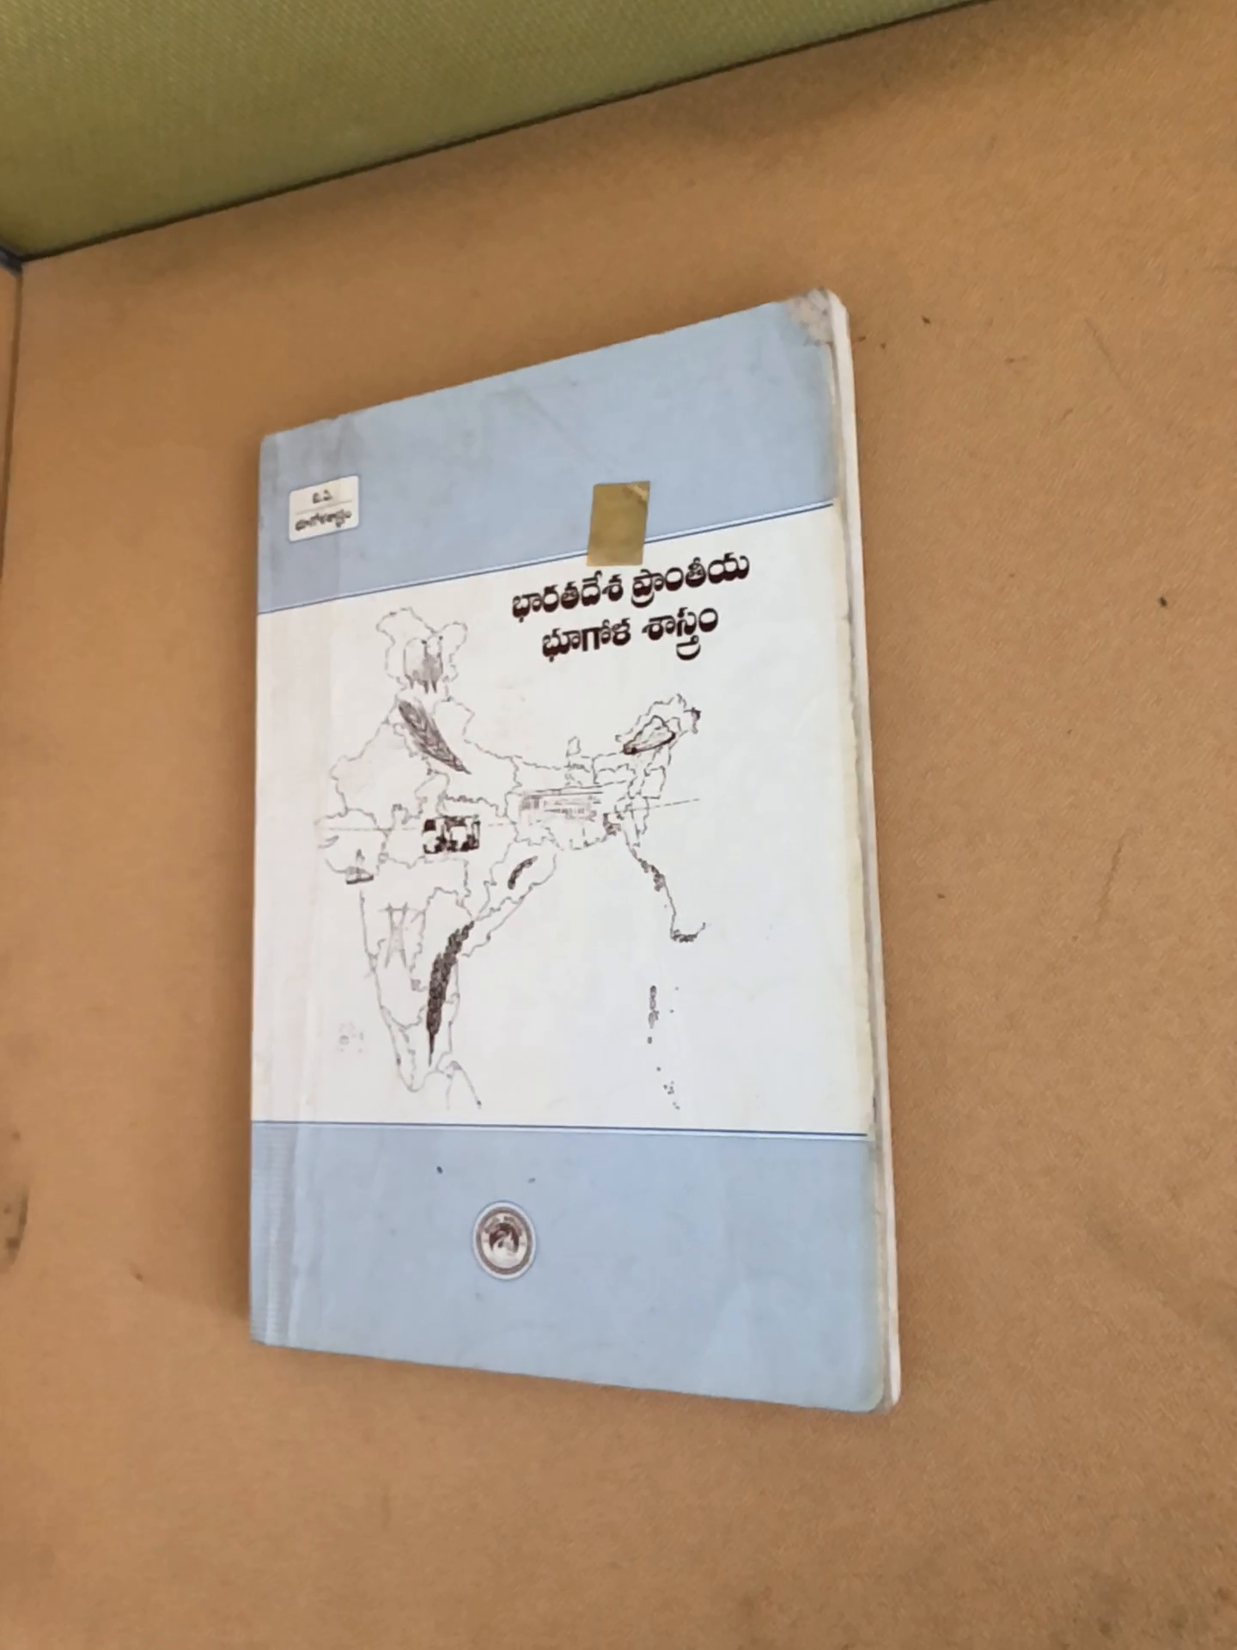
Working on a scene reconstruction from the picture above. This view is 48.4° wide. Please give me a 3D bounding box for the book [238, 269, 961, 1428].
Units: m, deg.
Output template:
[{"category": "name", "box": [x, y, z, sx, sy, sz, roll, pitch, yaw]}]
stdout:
[{"category": "book", "box": [-0.014, 0.006, 0.348, 0.181, 0.030, 0.250, -5, 81, 26]}]
